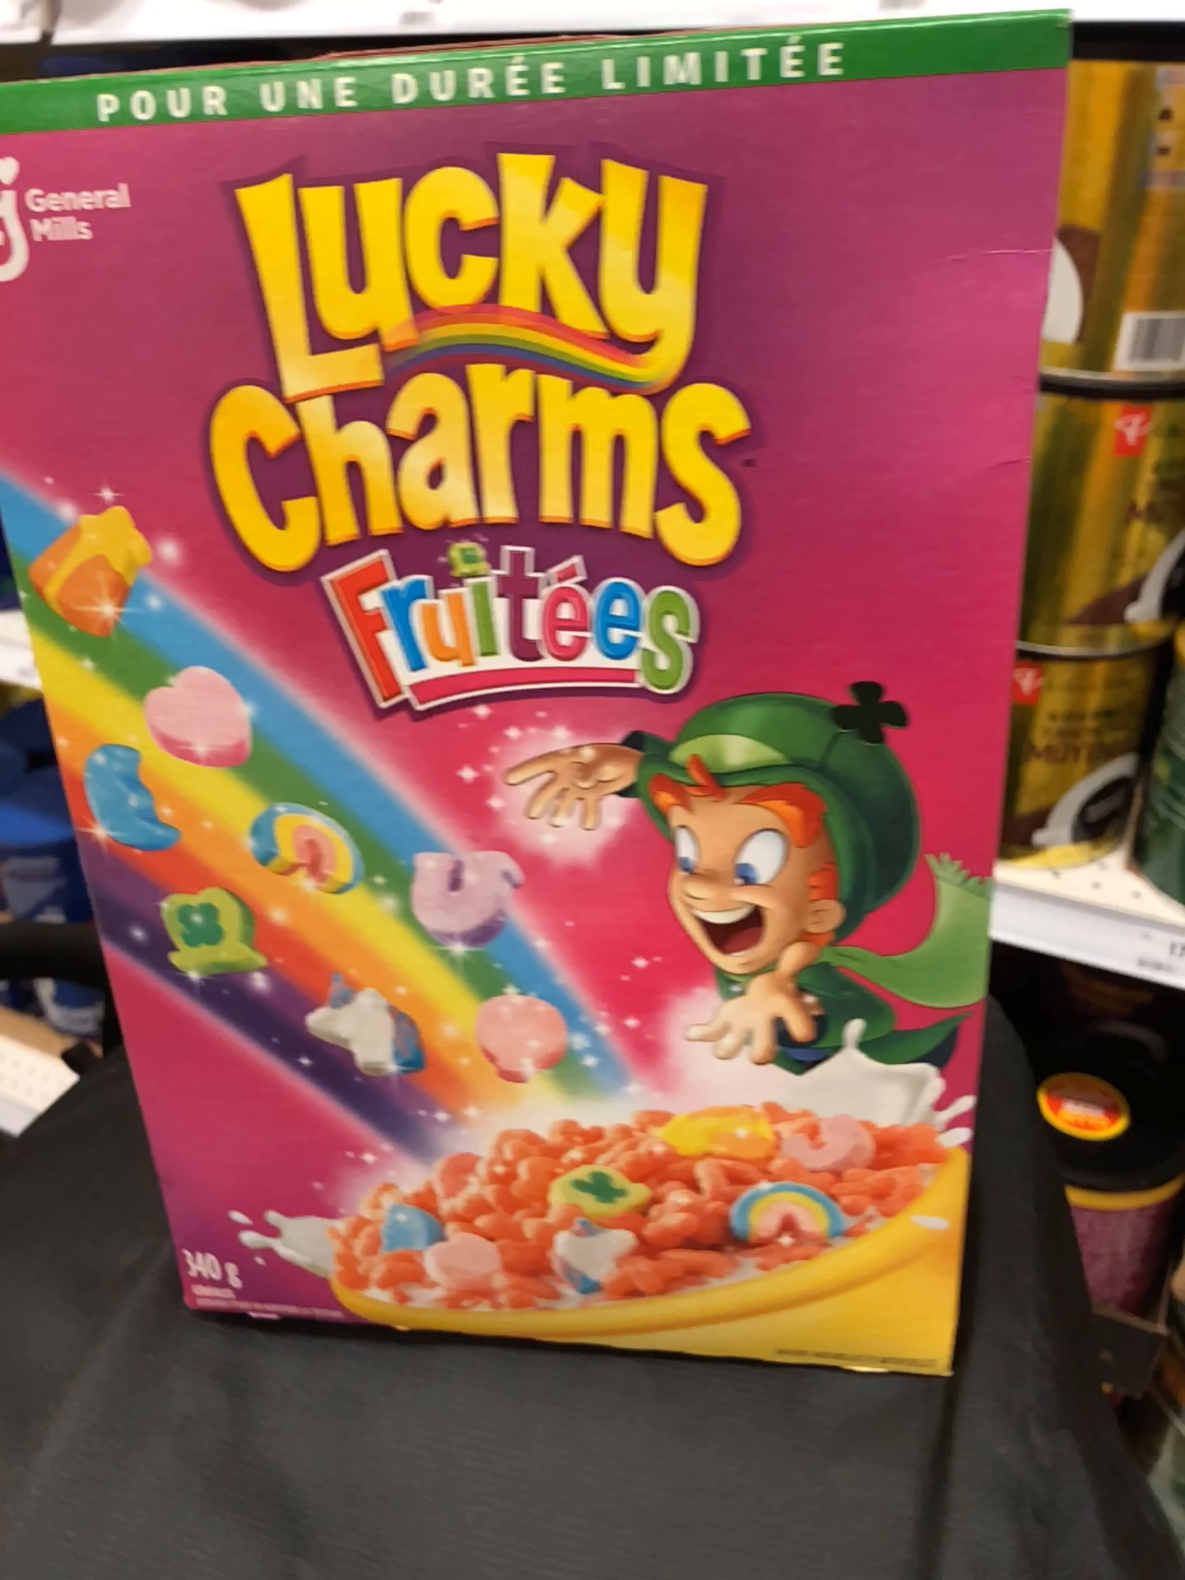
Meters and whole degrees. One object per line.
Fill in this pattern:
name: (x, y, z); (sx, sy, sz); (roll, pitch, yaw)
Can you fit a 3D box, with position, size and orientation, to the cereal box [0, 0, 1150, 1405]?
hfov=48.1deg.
cereal box: (-0.011, -0.001, 0.297); (0.200, 0.299, 0.060); (2, 26, 7)
